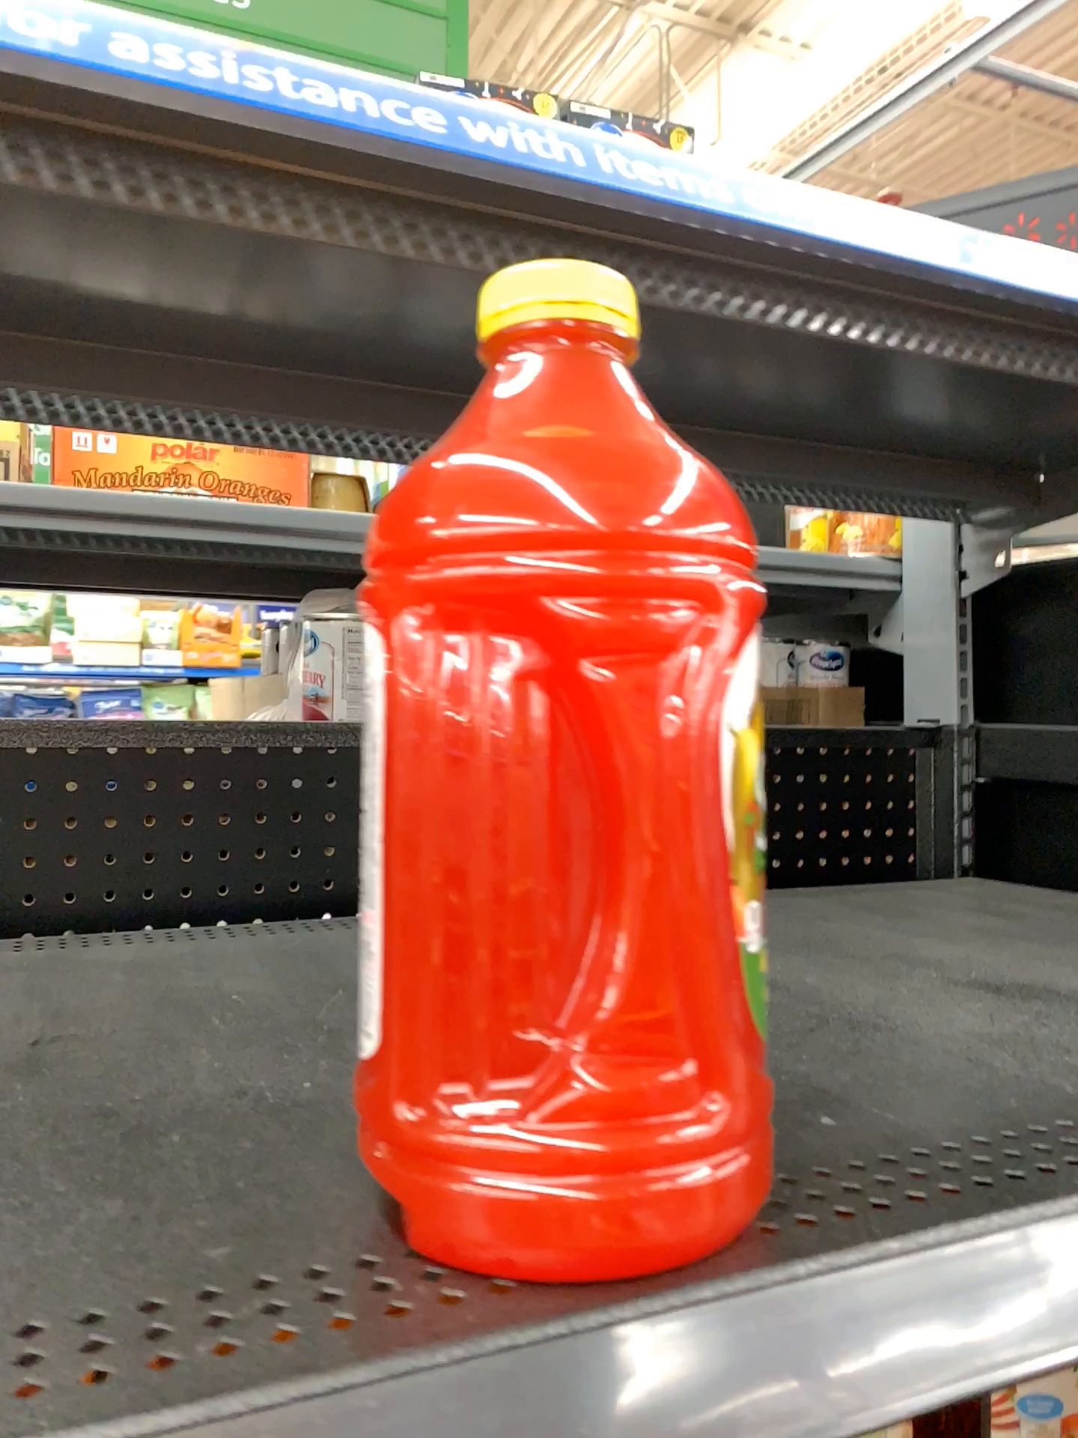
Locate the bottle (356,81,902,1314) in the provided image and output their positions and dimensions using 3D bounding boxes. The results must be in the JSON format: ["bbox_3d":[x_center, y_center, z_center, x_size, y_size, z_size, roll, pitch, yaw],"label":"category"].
[{"bbox_3d":[0.012,-0.005,0.316,0.122,0.265,0.140,1,0,-9],"label":"bottle"}]
